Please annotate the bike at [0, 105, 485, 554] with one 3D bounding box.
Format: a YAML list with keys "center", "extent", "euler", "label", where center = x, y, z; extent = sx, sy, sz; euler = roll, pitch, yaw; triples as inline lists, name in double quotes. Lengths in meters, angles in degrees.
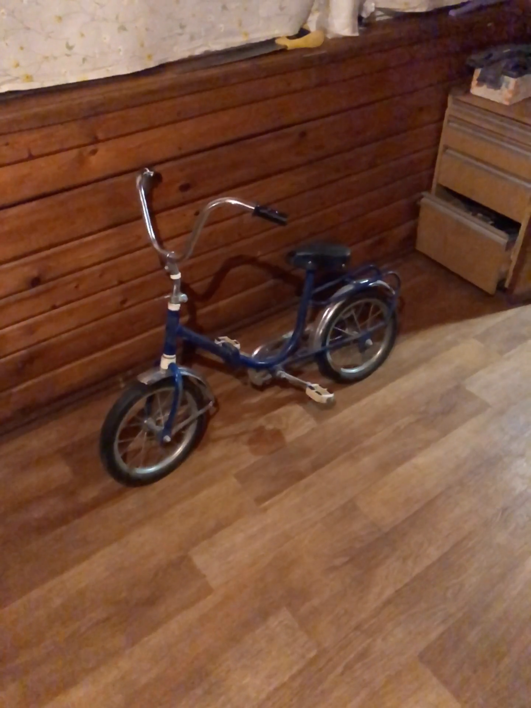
- center: [-0.040, -0.136, 1.508]
  extent: [0.958, 0.697, 0.595]
  euler: [-23, 46, -26]
  label: "bike"
